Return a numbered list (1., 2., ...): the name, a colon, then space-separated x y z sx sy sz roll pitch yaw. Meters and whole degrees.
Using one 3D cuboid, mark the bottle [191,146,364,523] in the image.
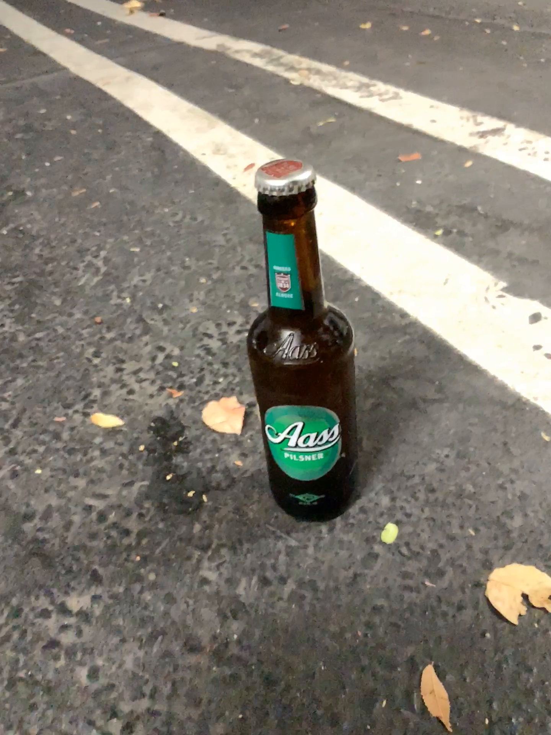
1. bottle: 0.009 -0.004 0.345 0.070 0.210 0.070 -3 42 3
